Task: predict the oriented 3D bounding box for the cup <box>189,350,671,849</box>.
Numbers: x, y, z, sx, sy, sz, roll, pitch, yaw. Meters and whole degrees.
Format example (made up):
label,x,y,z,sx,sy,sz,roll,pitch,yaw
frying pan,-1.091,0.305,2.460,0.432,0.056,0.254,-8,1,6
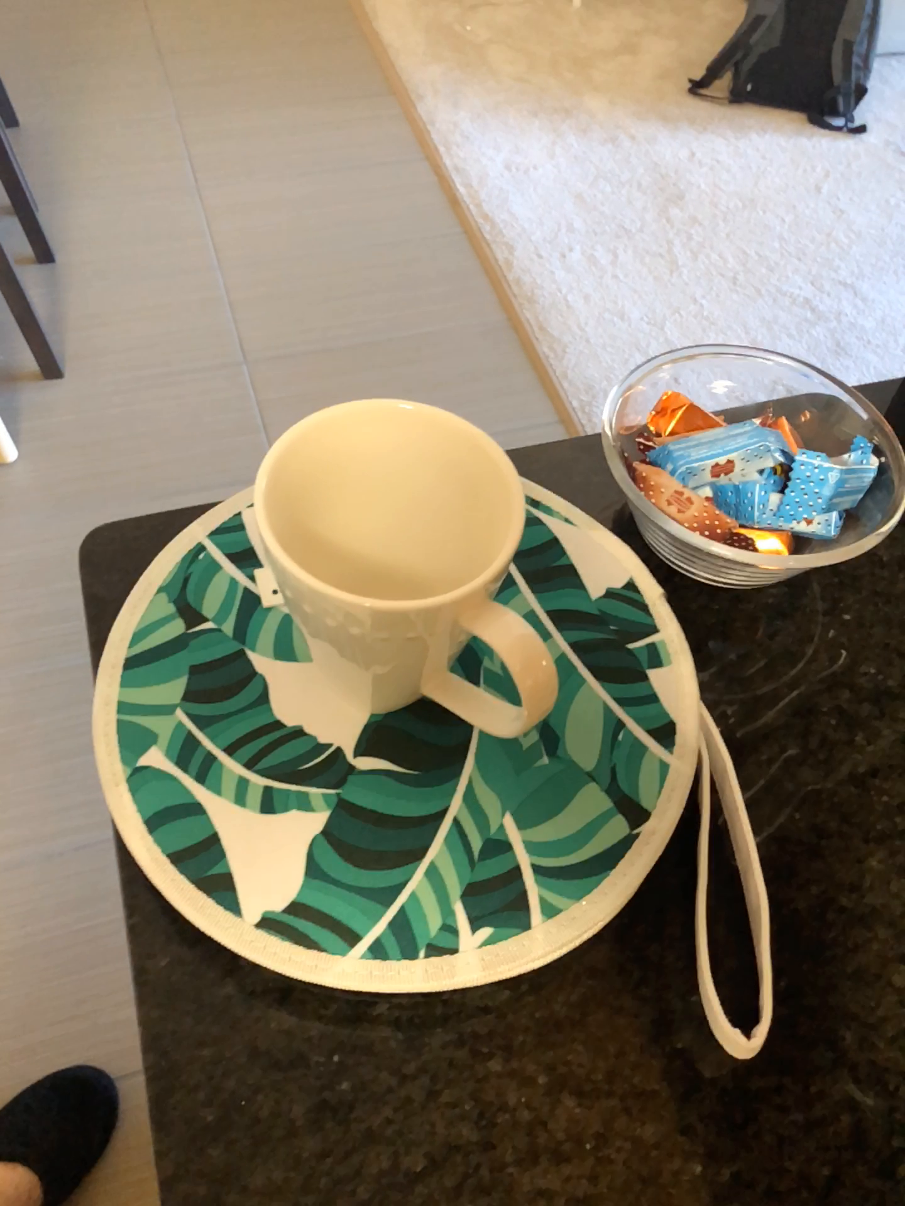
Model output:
label,x,y,z,sx,sy,sz,roll,pitch,yaw
cup,-0.011,-0.004,0.360,0.130,0.090,0.090,39,60,22
